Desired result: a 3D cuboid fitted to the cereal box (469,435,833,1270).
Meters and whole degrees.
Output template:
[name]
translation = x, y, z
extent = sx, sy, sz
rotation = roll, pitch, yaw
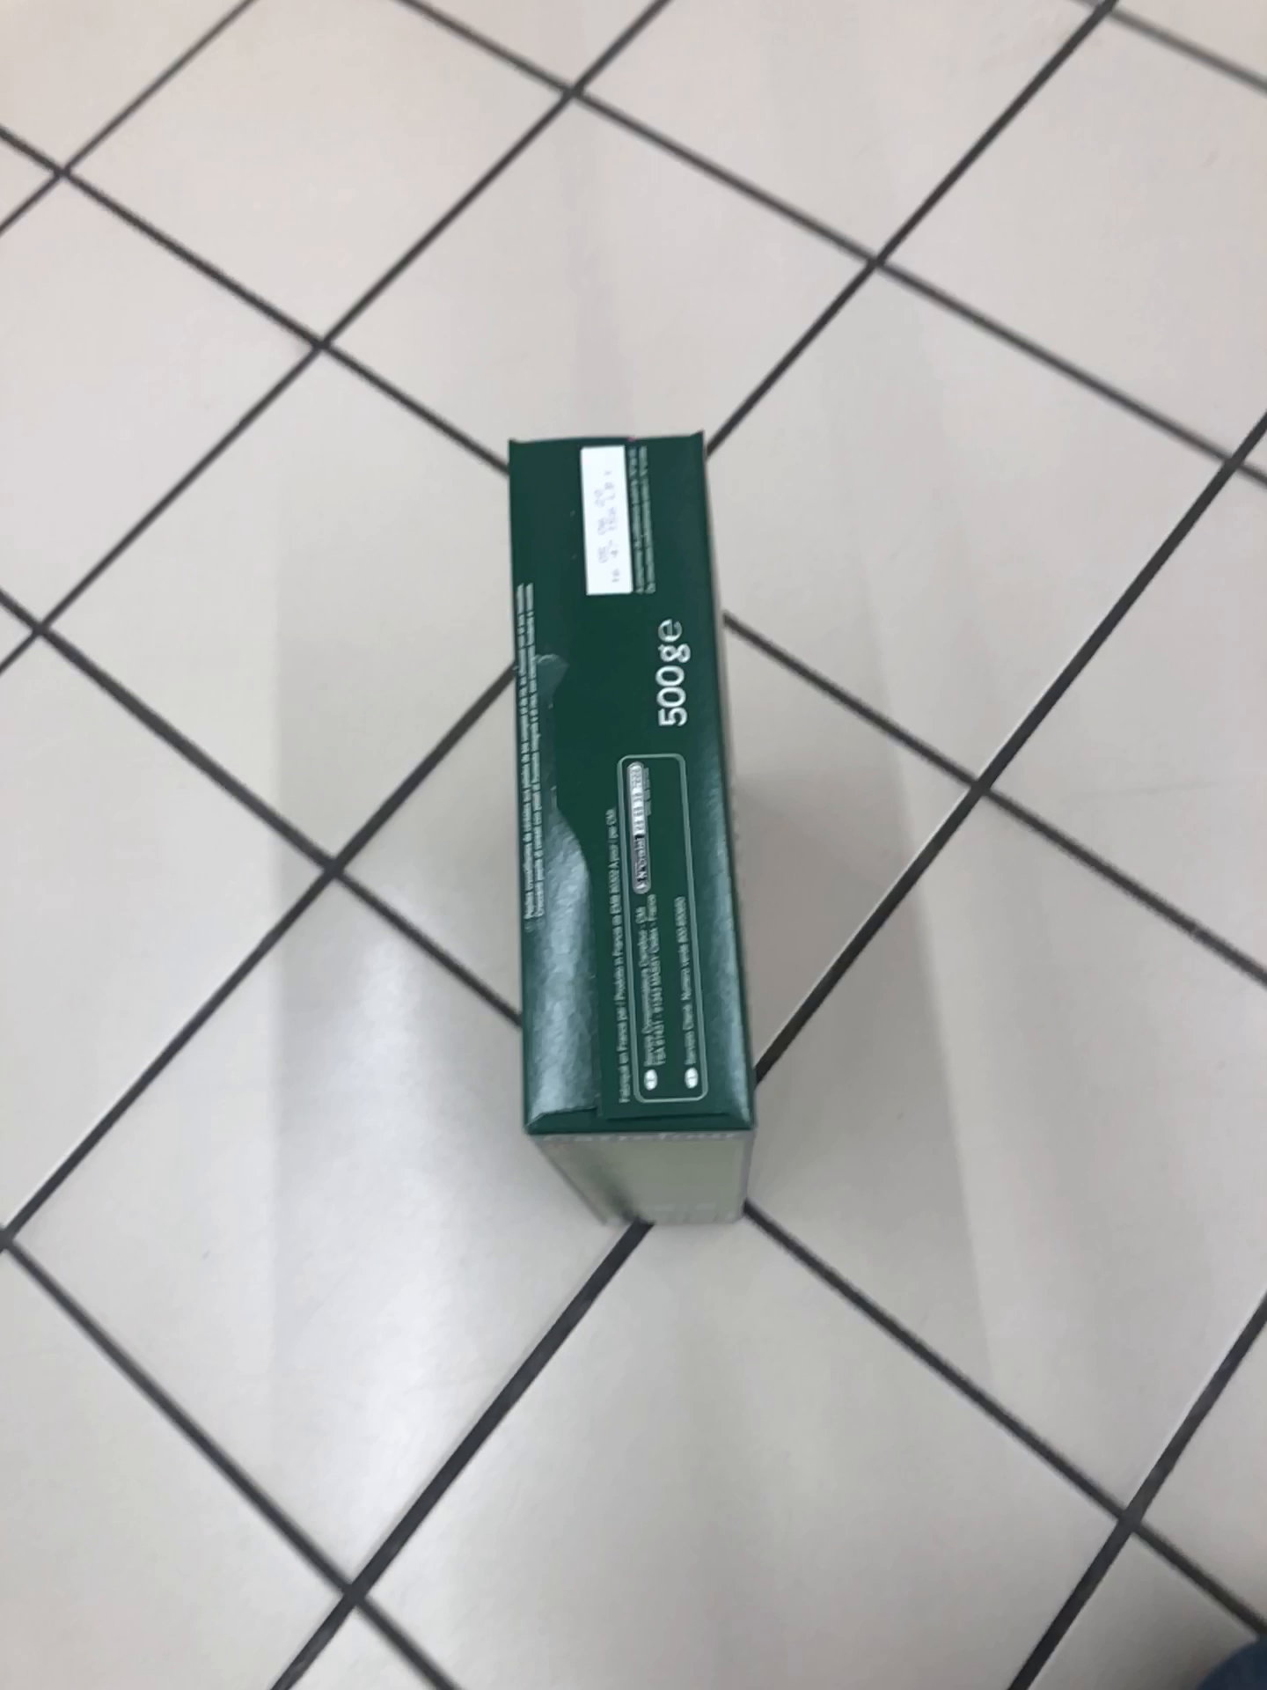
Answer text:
[cereal box]
translation = 0.010, 0.028, 0.459
extent = 0.080, 0.249, 0.201
rotation = -2, 70, 3
